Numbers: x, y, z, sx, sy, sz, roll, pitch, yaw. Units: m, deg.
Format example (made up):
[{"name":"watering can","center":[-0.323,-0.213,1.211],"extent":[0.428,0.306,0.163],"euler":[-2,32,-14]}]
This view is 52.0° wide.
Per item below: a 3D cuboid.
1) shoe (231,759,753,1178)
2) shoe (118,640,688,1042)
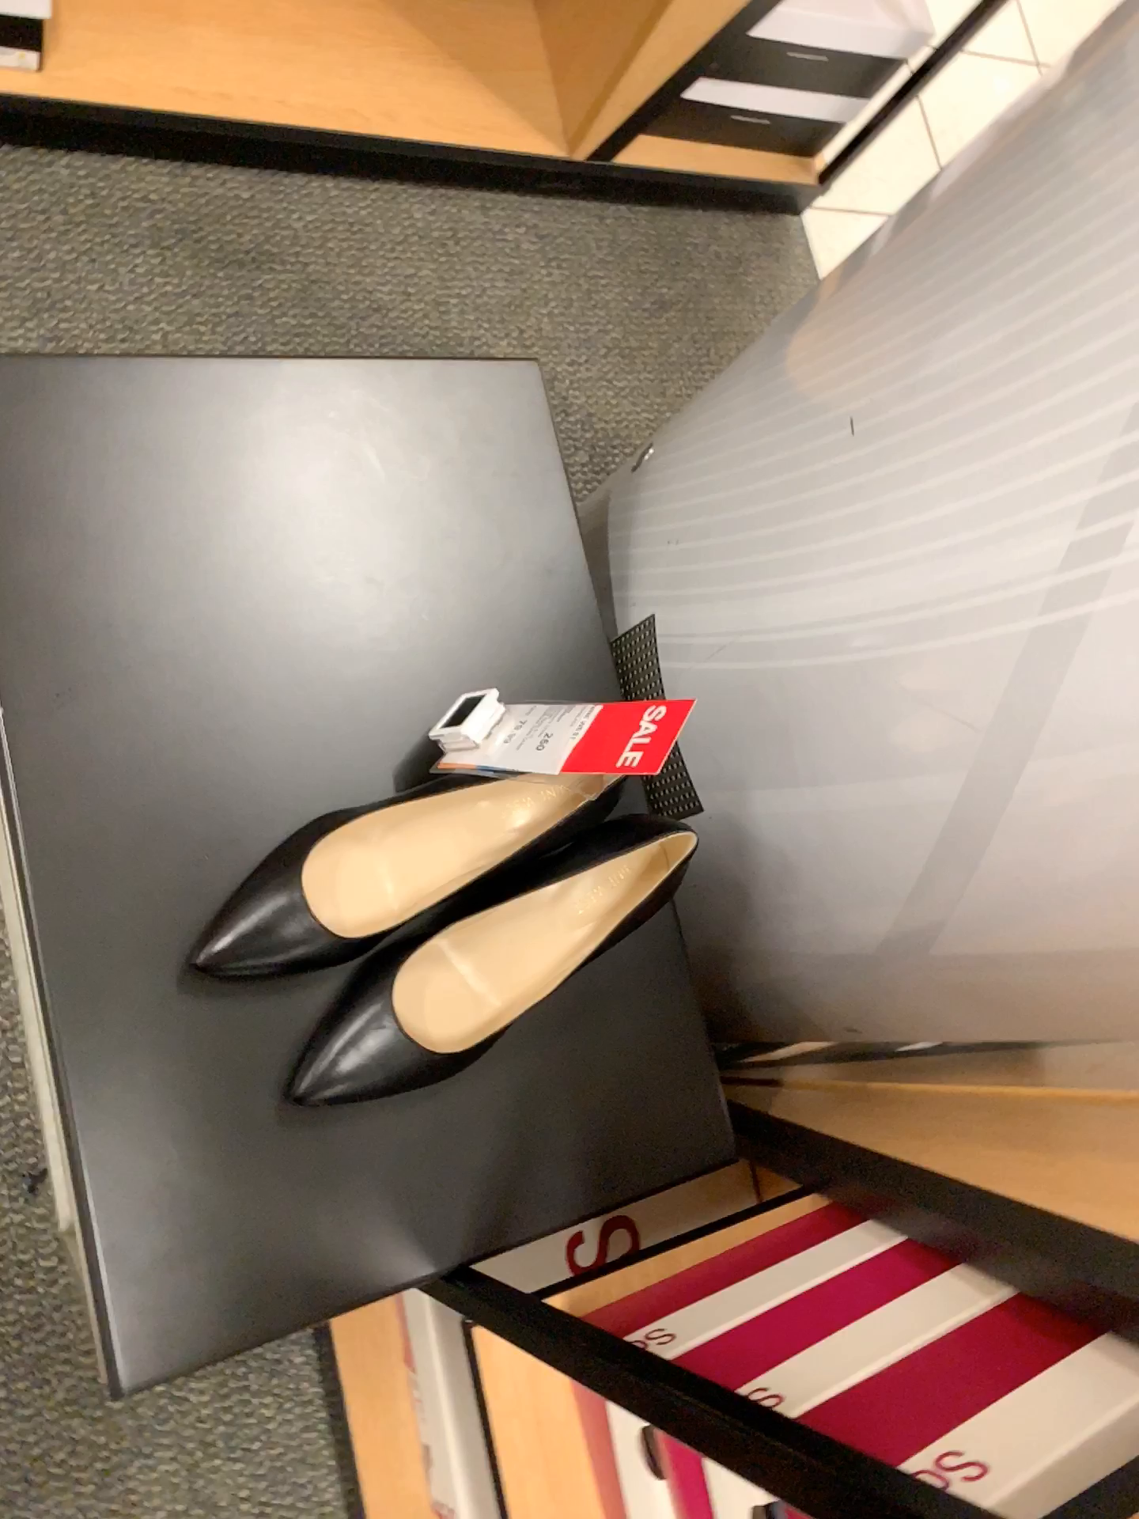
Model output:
[{"name":"shoe","center":[-0.052,0.121,0.707],"extent":[0.251,0.190,0.100],"euler":[-32,93,-29]},{"name":"shoe","center":[-0.098,0.049,0.649],"extent":[0.251,0.190,0.100],"euler":[-26,90,-29]}]
